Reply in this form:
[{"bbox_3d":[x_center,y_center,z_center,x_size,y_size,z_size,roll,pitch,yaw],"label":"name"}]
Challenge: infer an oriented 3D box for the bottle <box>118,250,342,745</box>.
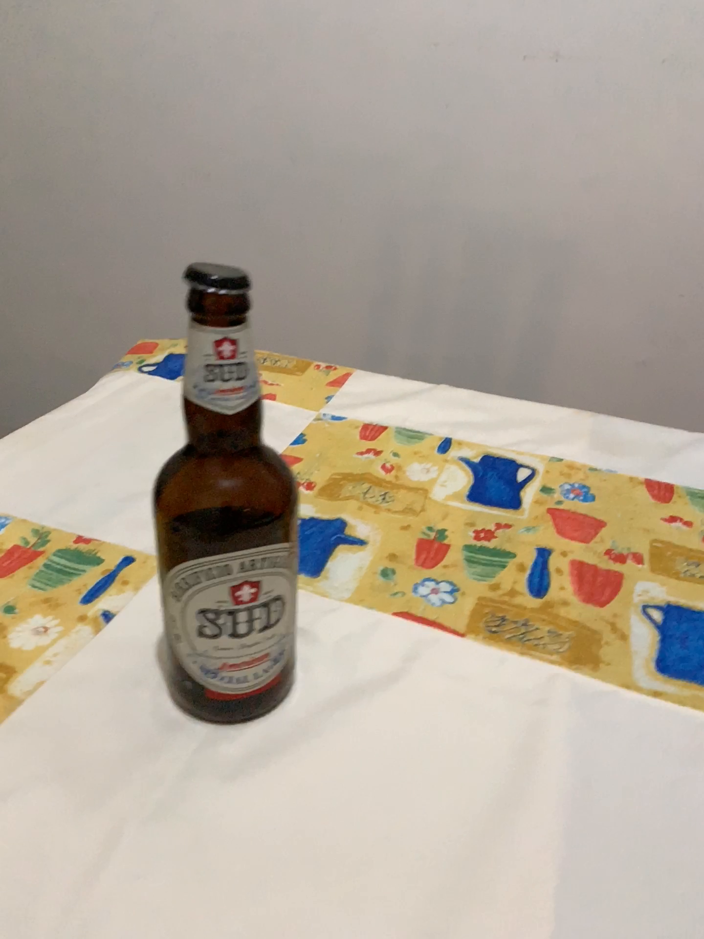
[{"bbox_3d":[-0.062,0.019,0.369,0.080,0.239,0.070,-9,31,-22],"label":"bottle"}]
